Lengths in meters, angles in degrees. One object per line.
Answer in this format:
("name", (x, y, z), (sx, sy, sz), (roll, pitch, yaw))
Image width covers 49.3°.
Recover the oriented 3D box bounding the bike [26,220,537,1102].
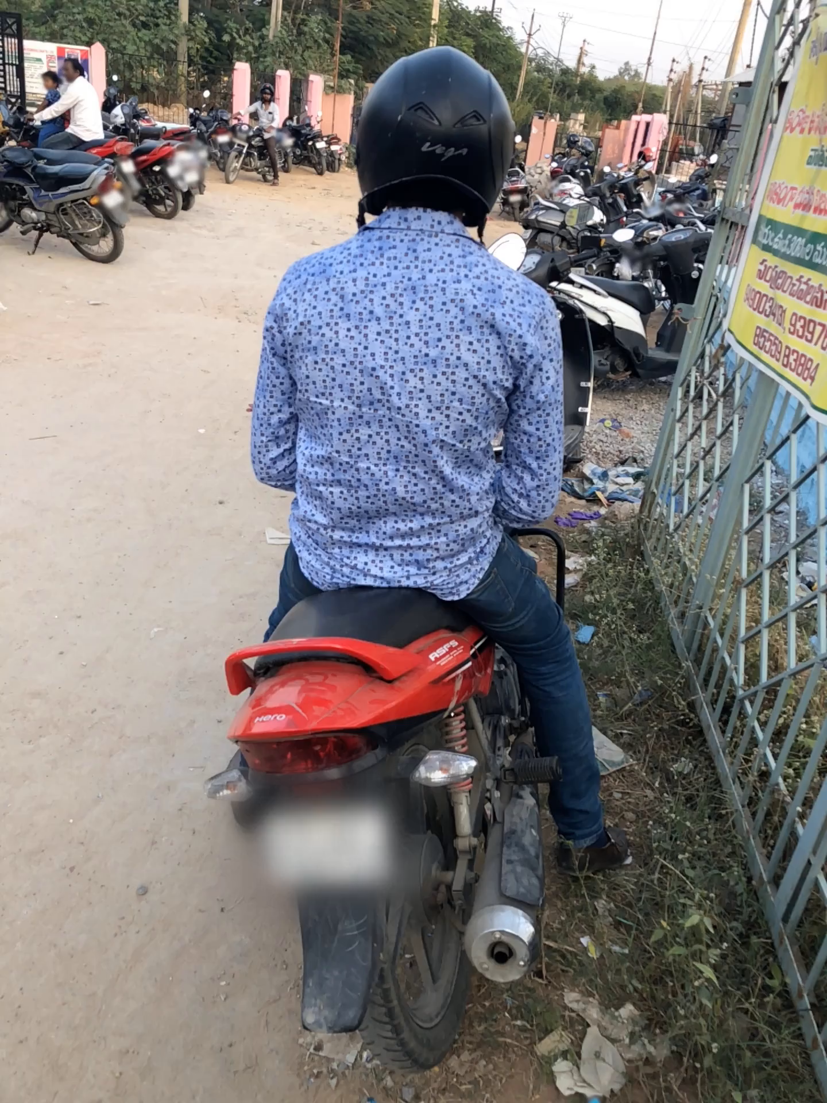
("bike", (-0.191, 0.046, 2.010), (0.582, 1.176, 1.698), (7, 27, -1))
